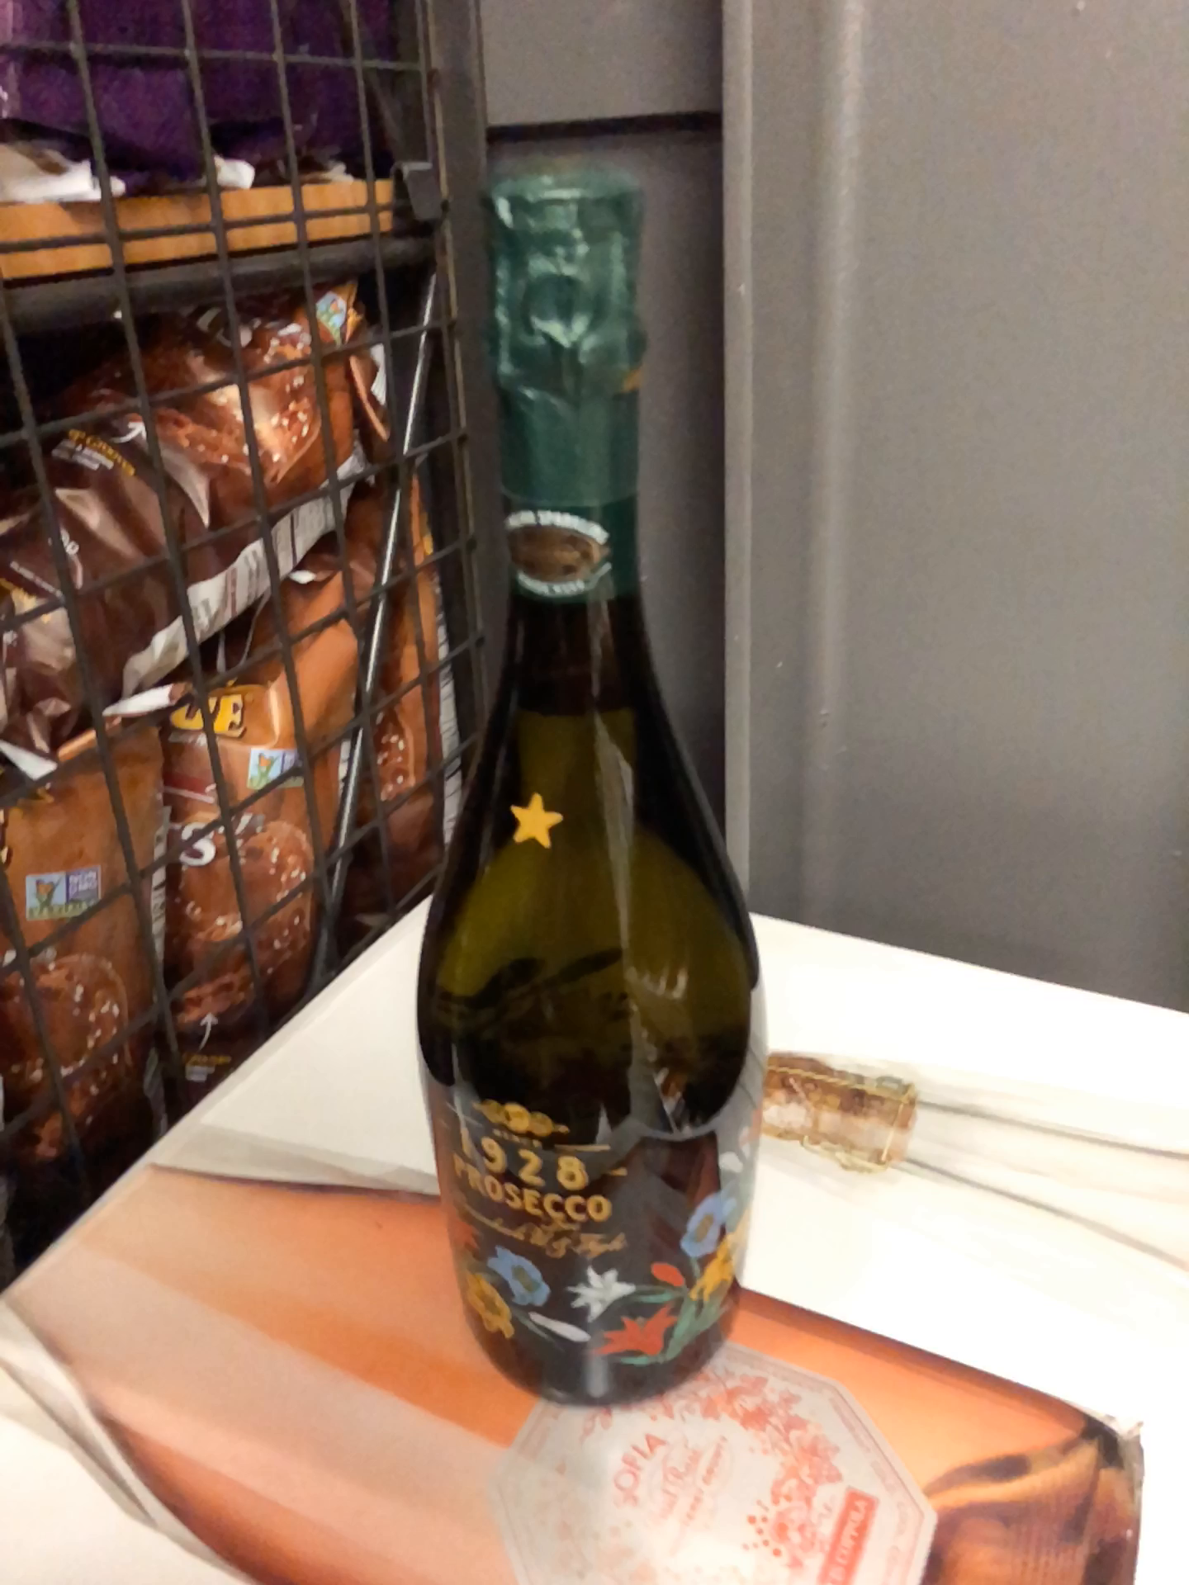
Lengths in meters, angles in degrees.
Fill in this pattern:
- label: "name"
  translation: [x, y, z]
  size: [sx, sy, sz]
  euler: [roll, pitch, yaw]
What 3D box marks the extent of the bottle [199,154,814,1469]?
- label: "bottle"
  translation: [-0.006, 0.011, 0.324]
  size: [0.090, 0.299, 0.090]
  euler: [-3, 25, 1]
